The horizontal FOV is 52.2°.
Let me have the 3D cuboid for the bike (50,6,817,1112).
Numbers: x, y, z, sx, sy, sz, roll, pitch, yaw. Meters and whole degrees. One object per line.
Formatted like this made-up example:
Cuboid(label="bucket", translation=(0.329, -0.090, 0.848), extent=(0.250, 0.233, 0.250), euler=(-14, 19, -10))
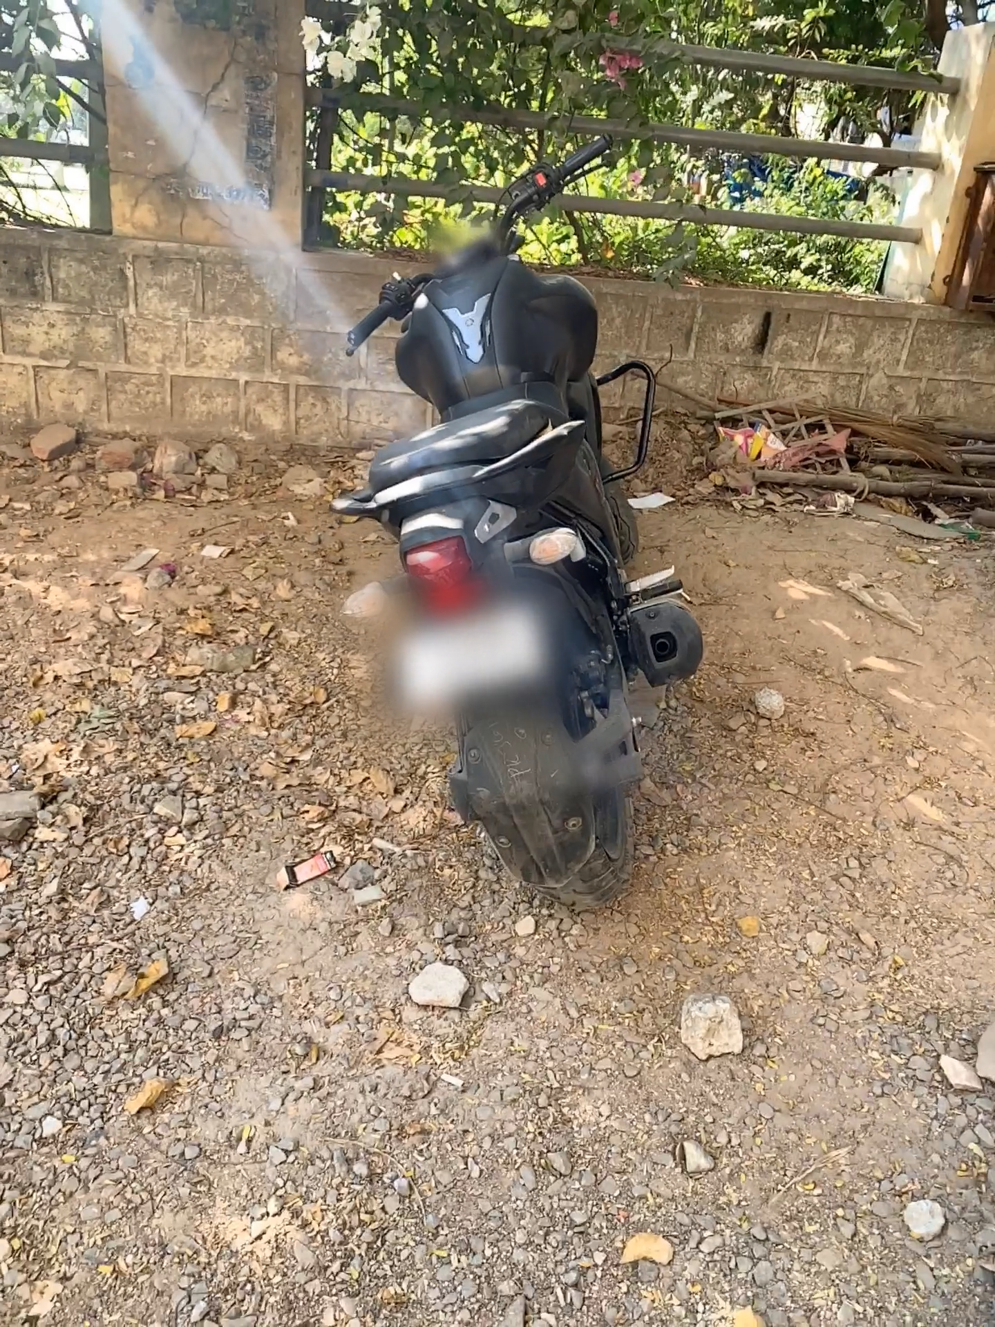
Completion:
Cuboid(label="bike", translation=(-0.165, -0.445, 2.130), extent=(0.818, 1.499, 1.764), euler=(4, 29, -4))
